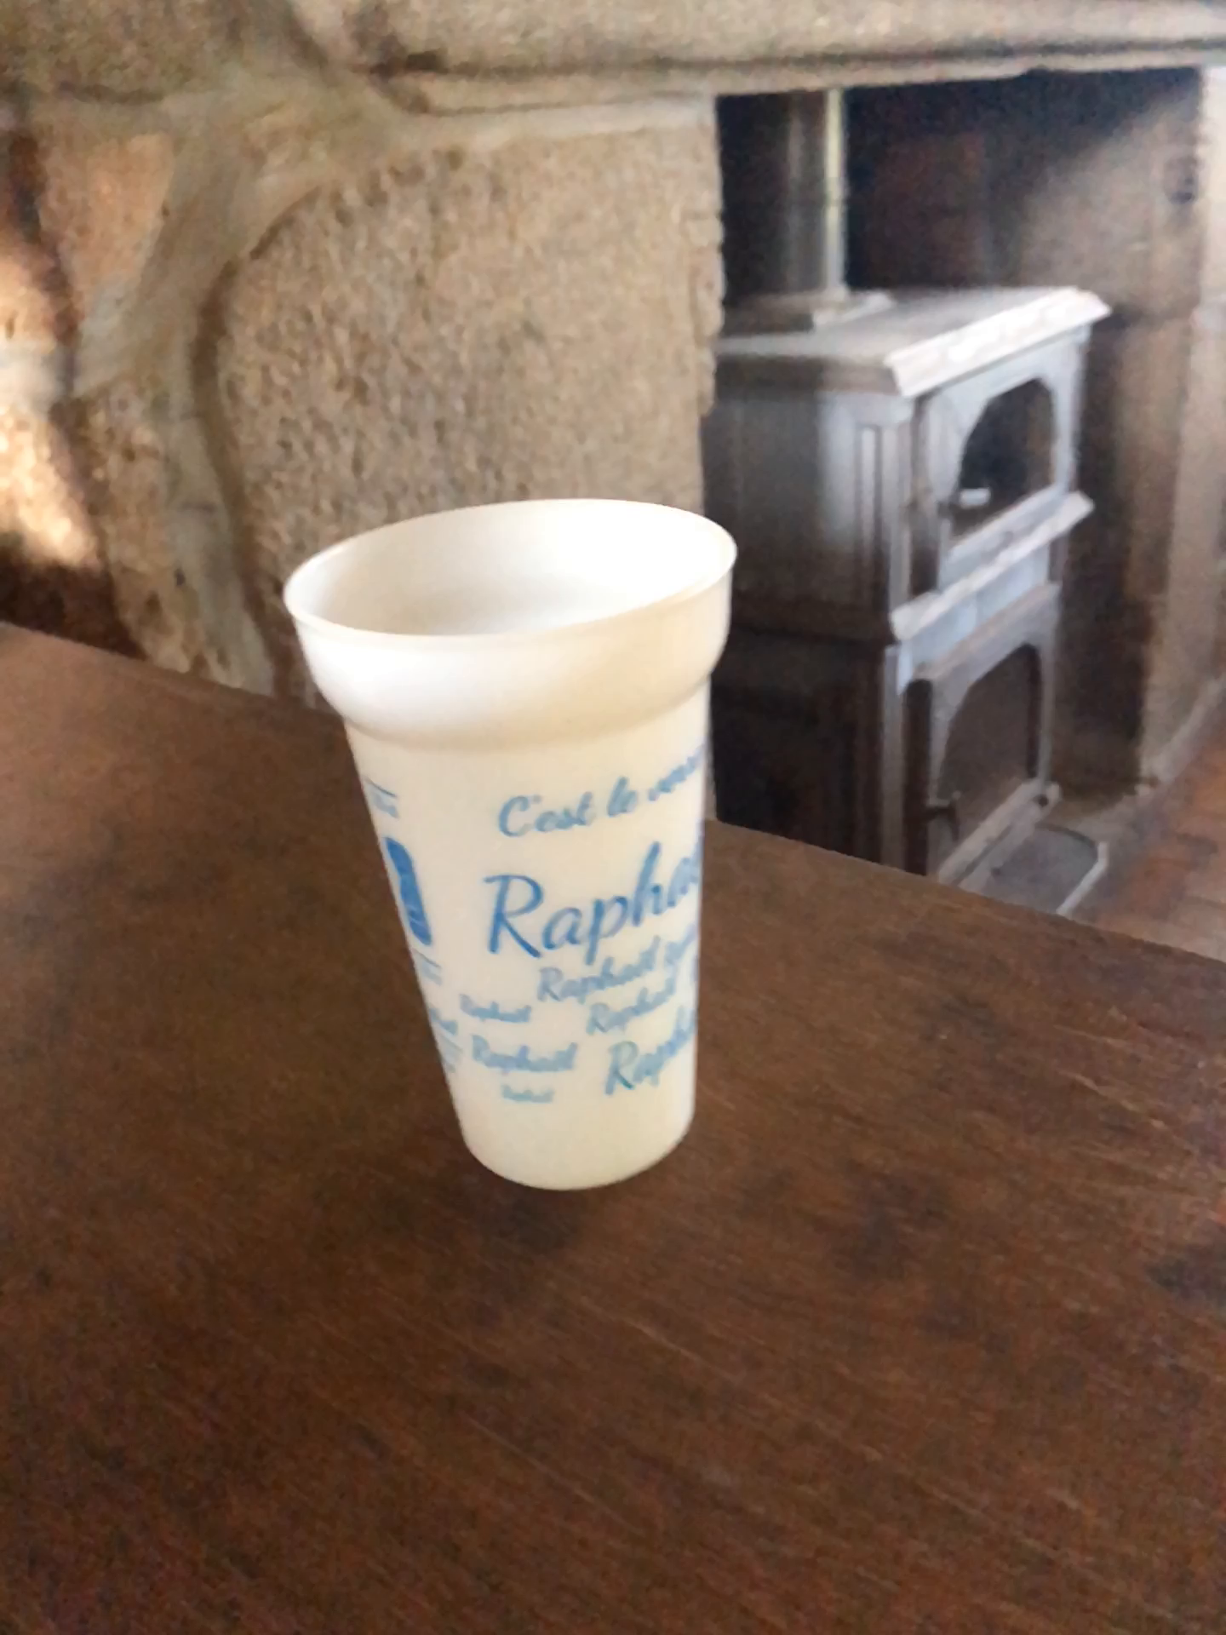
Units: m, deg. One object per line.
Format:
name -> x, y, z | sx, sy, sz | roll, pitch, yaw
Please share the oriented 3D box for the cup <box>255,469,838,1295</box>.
cup -> -0.012, 0.007, 0.261 | 0.080, 0.119, 0.080 | -4, 27, 2
